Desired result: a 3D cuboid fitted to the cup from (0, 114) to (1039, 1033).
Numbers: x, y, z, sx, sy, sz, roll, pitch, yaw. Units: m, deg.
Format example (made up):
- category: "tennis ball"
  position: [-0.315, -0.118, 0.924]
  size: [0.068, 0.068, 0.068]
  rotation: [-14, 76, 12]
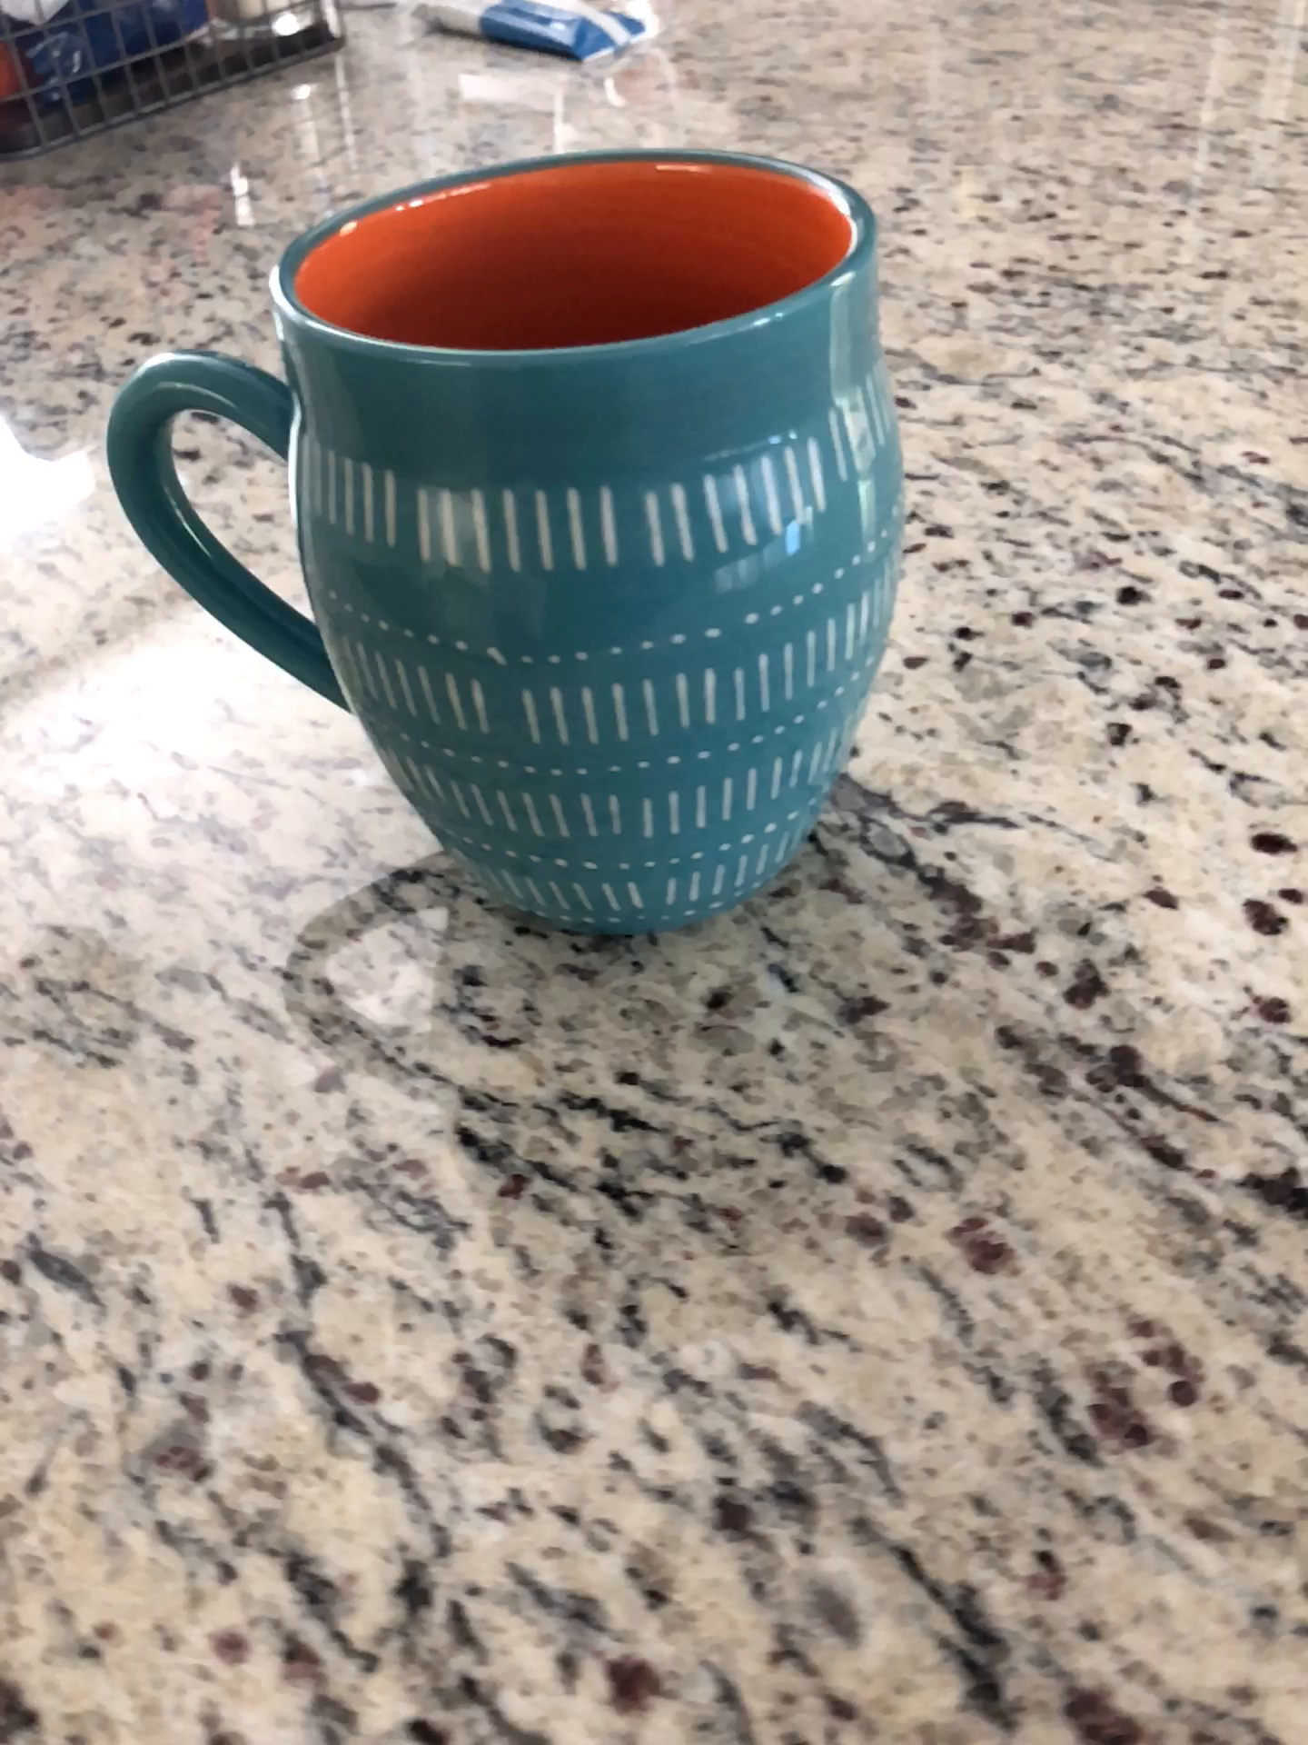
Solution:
- category: "cup"
  position: [-0.025, -0.066, 0.267]
  size: [0.150, 0.099, 0.111]
  rotation: [17, 45, 24]
